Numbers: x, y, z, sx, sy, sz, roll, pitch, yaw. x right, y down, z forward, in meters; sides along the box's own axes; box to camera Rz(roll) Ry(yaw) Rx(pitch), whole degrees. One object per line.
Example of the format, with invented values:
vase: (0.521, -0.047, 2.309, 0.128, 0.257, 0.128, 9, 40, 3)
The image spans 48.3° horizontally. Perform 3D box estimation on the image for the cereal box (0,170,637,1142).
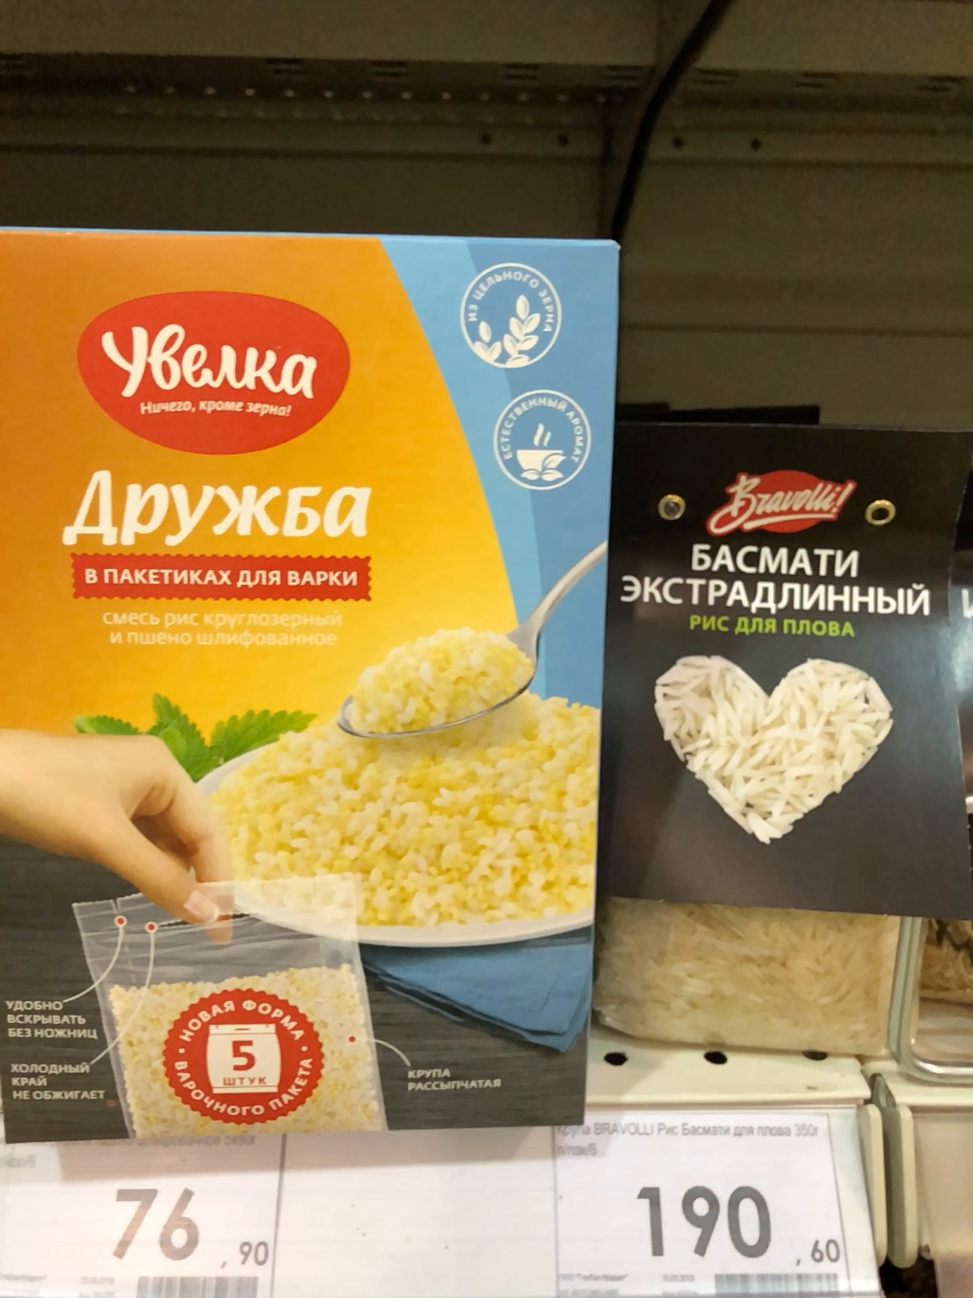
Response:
cereal box: (-0.040, 0.006, 0.231, 0.130, 0.189, 0.040, 0, 12, -4)
